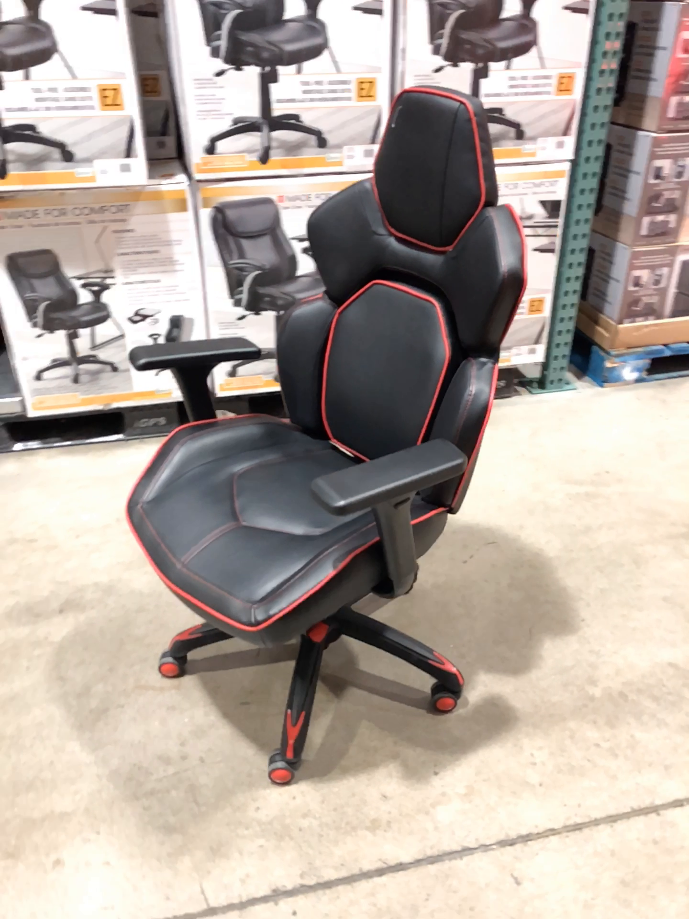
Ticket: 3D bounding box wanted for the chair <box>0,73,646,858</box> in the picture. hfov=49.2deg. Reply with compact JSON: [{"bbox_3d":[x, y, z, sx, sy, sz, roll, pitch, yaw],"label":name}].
[{"bbox_3d":[-0.045,-0.065,1.450,0.722,1.145,0.721,27,40,37],"label":"chair"}]
